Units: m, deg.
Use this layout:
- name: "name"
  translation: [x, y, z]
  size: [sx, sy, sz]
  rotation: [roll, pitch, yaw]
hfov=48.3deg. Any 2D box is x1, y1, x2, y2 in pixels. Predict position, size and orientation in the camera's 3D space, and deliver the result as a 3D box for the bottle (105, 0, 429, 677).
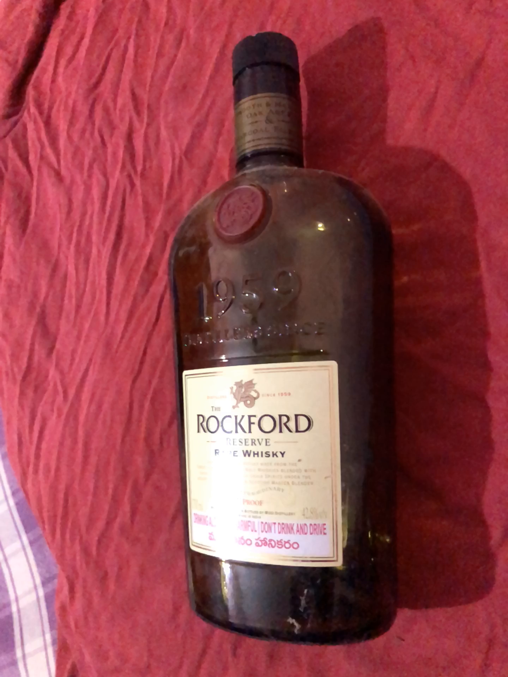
- name: "bottle"
  translation: [0.001, -0.015, 0.225]
  size: [0.100, 0.060, 0.250]
  rotation: [-6, 83, 30]
